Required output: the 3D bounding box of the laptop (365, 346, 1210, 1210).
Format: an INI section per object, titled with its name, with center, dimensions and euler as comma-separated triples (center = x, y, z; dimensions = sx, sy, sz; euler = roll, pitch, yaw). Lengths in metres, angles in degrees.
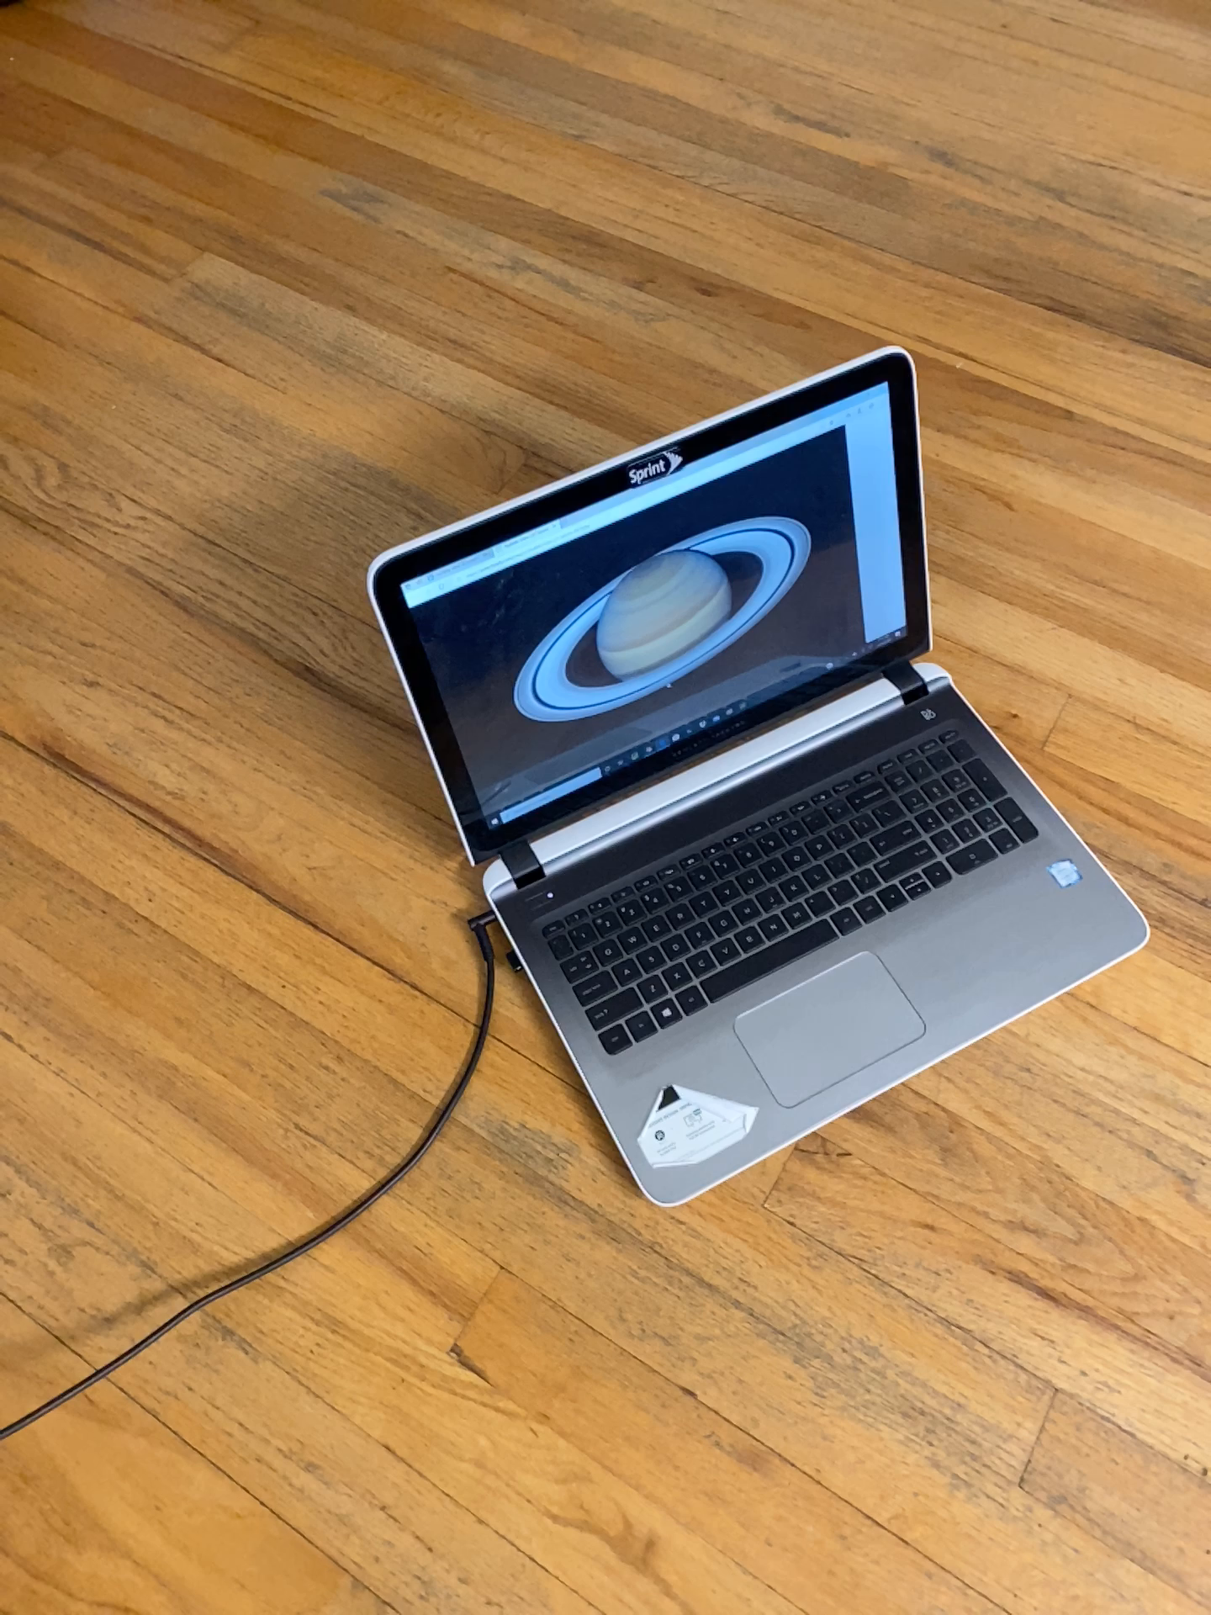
[laptop]
center = 0.111, -0.030, 0.765
dimensions = 0.371, 0.202, 0.364
euler = -25, 64, -13
